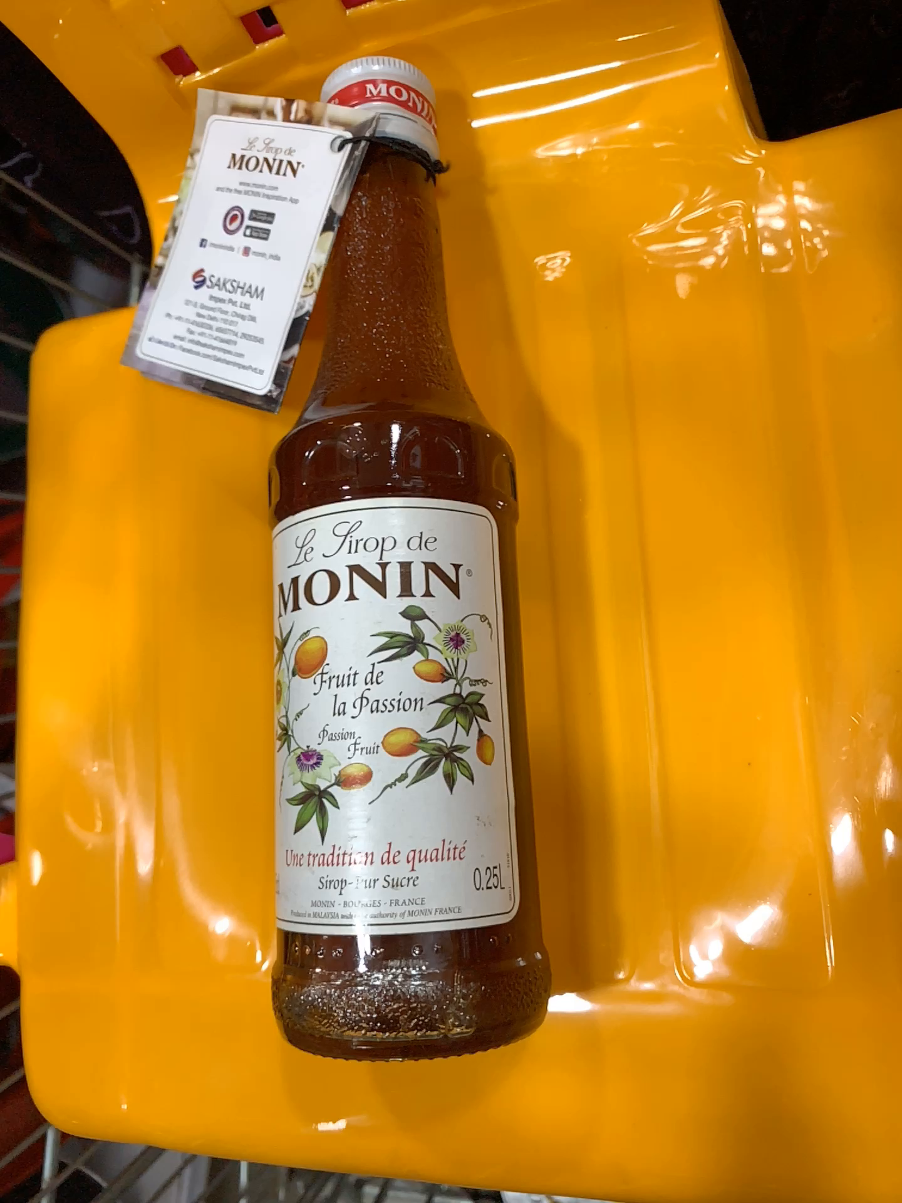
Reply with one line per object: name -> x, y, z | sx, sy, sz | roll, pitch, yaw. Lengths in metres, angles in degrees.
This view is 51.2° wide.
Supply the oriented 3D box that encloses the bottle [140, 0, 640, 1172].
bottle -> -0.013, -0.019, 0.189 | 0.060, 0.060, 0.220 | -10, 78, 19
